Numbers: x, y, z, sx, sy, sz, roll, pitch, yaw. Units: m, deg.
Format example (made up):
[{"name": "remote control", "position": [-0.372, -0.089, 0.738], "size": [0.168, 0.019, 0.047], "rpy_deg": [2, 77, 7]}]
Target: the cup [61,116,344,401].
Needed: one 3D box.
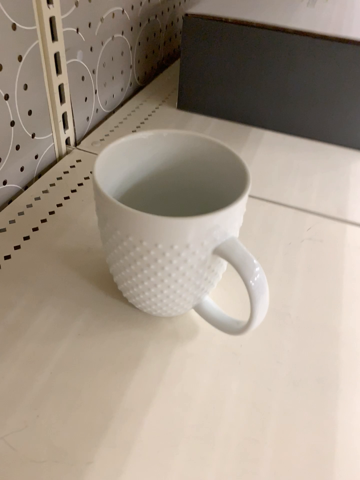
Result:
[{"name": "cup", "position": [0.007, 0.005, 0.251], "size": [0.138, 0.105, 0.094], "rpy_deg": [36, 51, 26]}]
